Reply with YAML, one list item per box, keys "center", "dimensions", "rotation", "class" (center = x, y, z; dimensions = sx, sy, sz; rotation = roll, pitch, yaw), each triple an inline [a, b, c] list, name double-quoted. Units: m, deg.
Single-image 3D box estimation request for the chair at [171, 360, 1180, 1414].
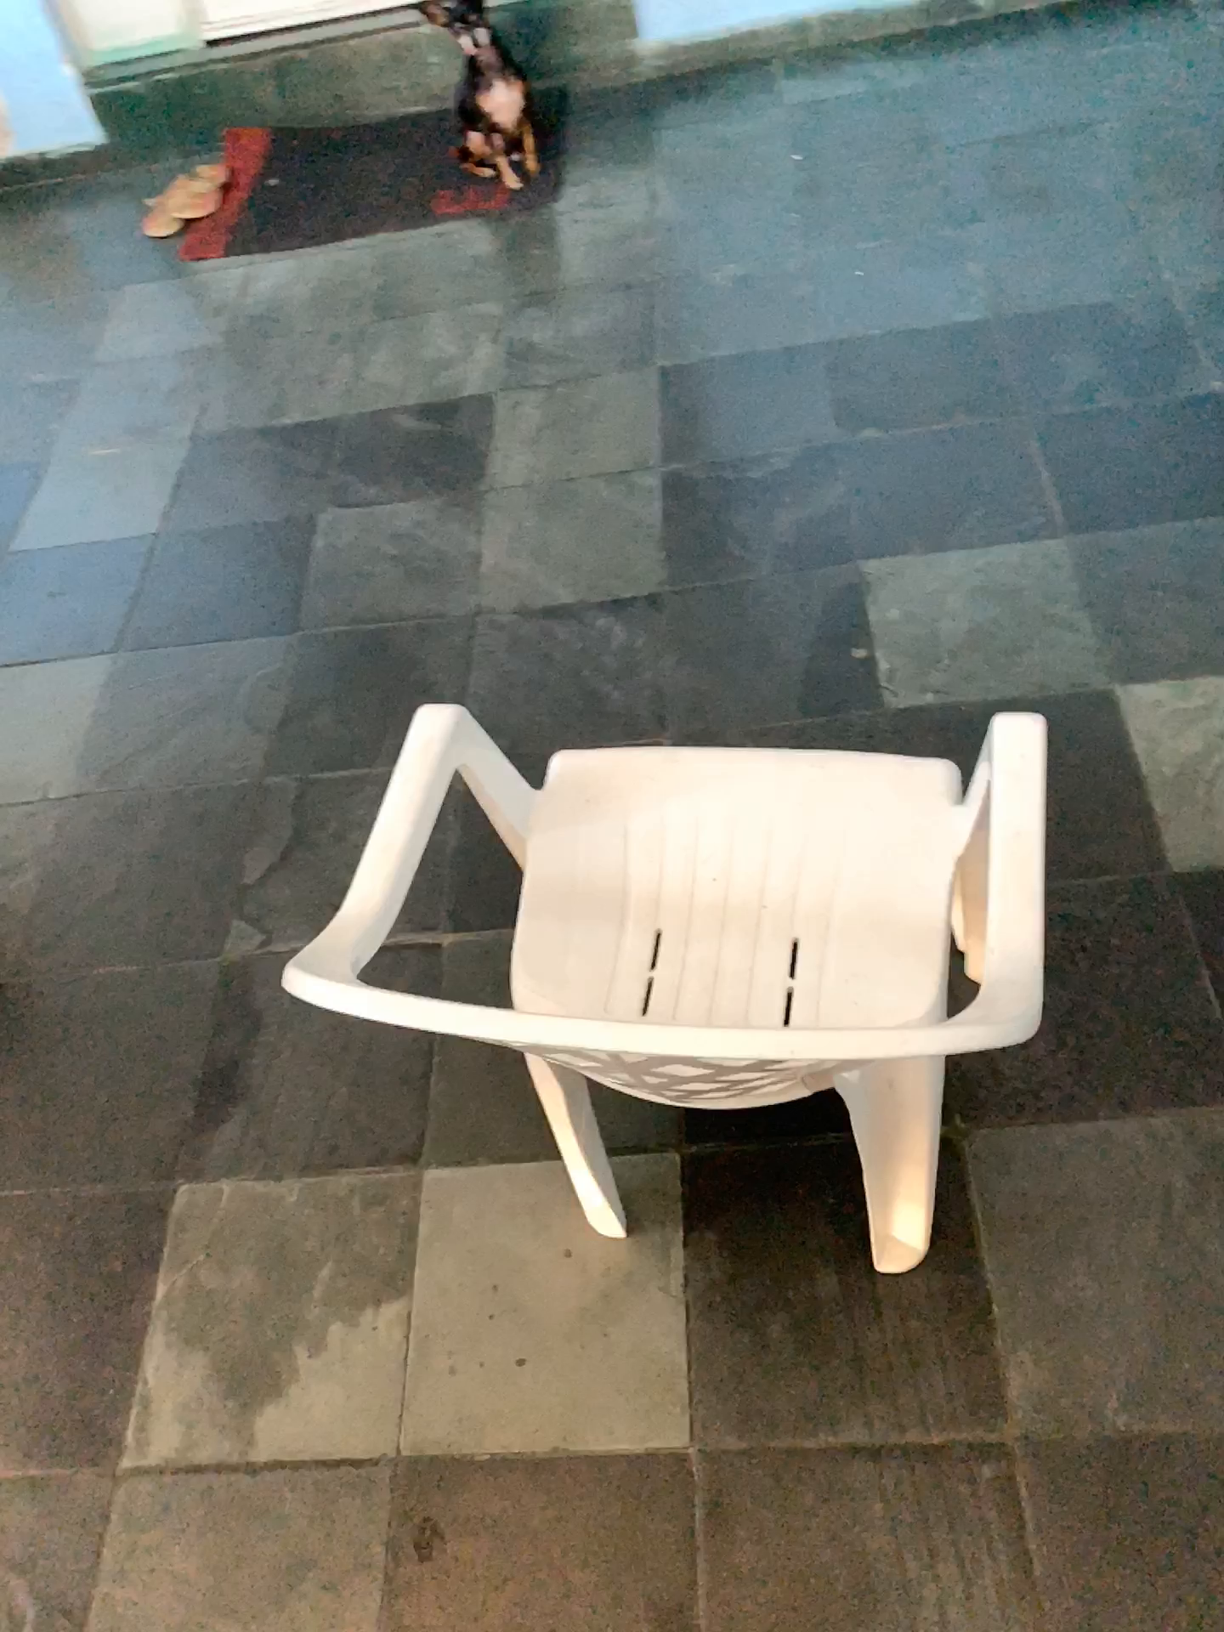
- center: [0.109, 0.106, 1.114]
  dimensions: [0.540, 0.717, 0.592]
  rotation: [0, 53, 12]
  class: "chair"
